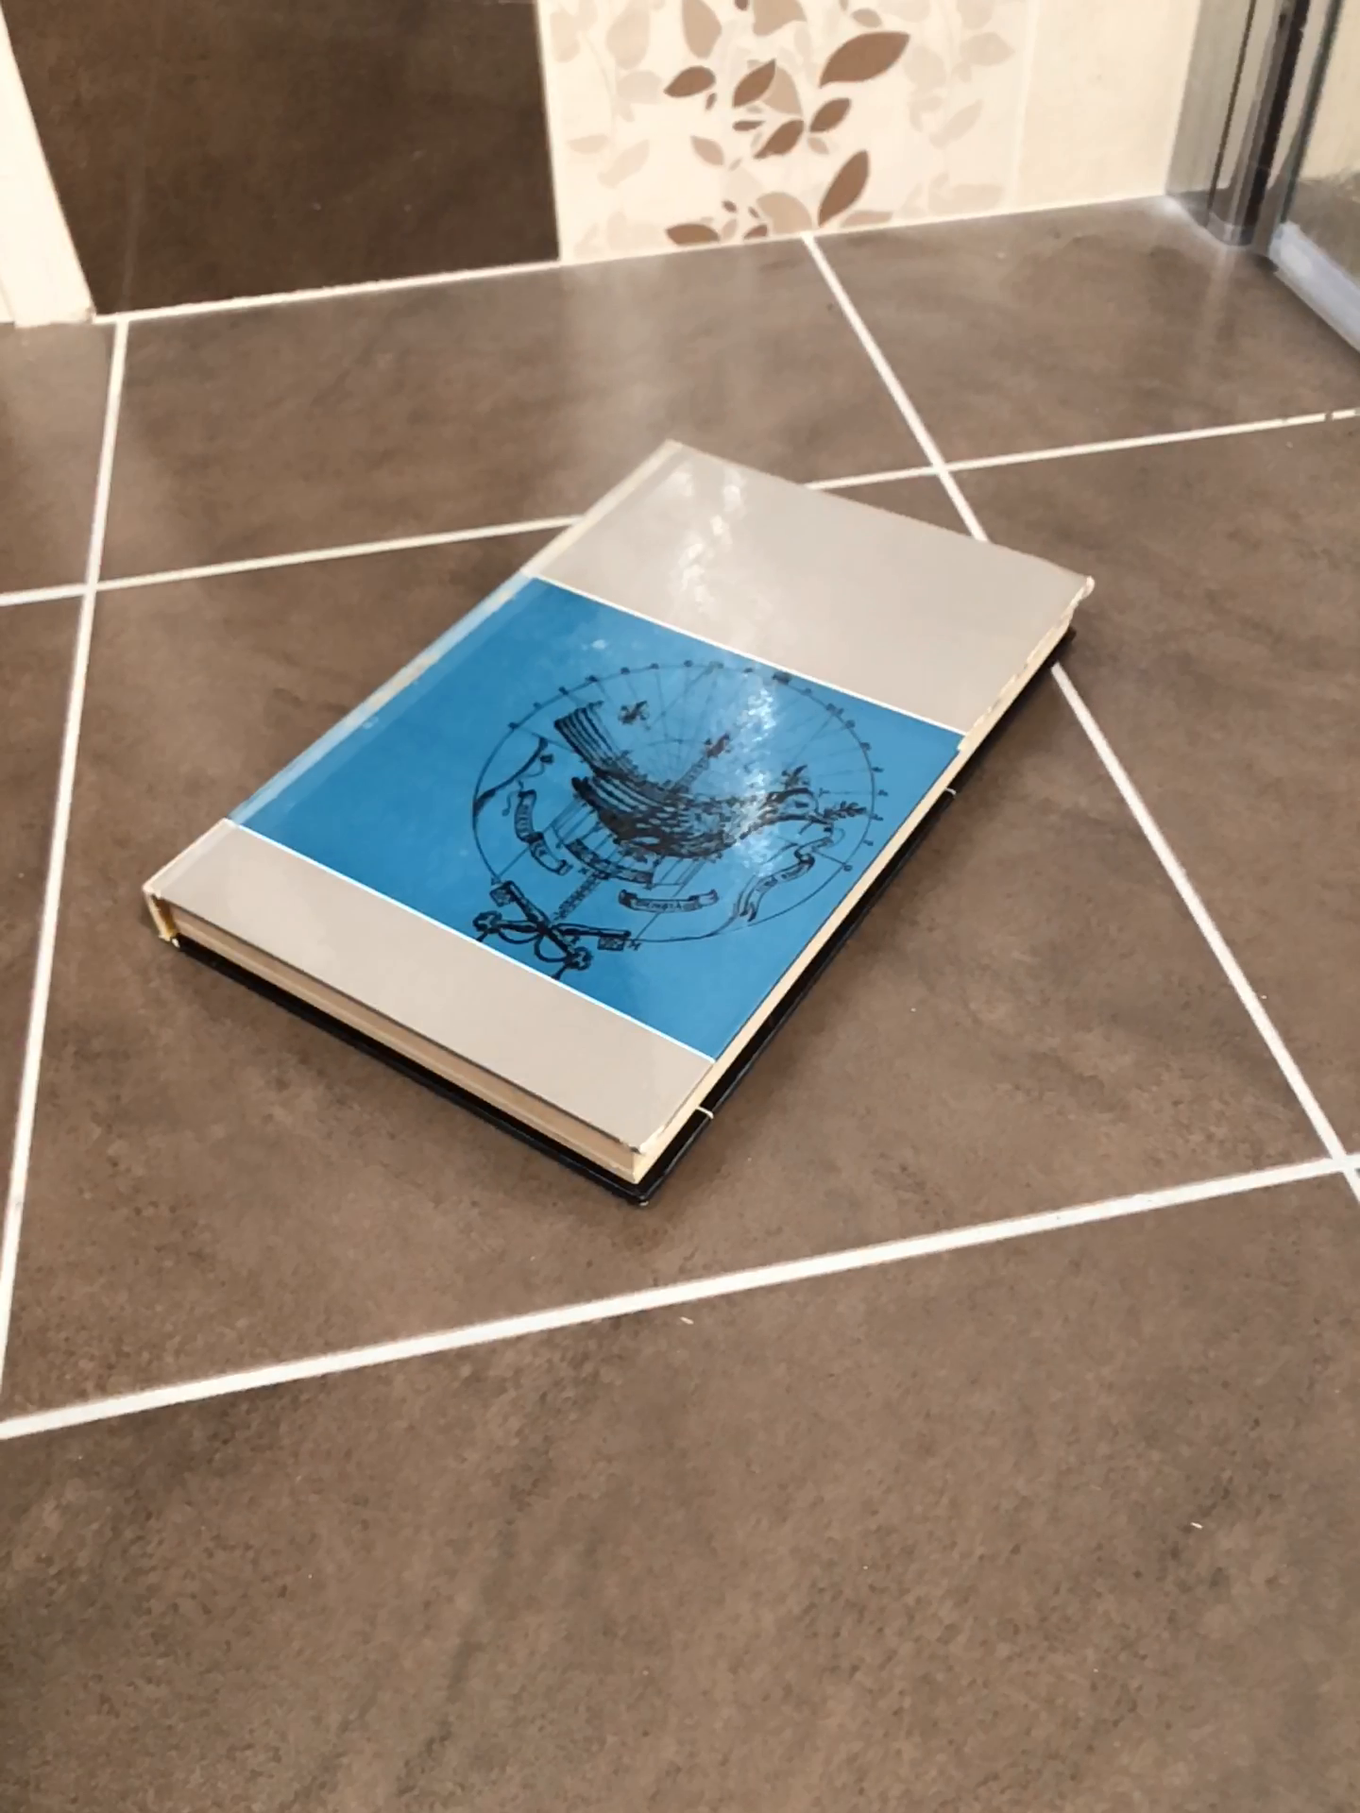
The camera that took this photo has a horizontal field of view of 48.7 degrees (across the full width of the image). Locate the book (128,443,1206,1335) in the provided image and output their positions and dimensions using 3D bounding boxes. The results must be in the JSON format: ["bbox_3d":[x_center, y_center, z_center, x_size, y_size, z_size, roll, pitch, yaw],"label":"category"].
[{"bbox_3d":[0.011,-0.039,0.493,0.210,0.040,0.302,25,53,24],"label":"book"}]
